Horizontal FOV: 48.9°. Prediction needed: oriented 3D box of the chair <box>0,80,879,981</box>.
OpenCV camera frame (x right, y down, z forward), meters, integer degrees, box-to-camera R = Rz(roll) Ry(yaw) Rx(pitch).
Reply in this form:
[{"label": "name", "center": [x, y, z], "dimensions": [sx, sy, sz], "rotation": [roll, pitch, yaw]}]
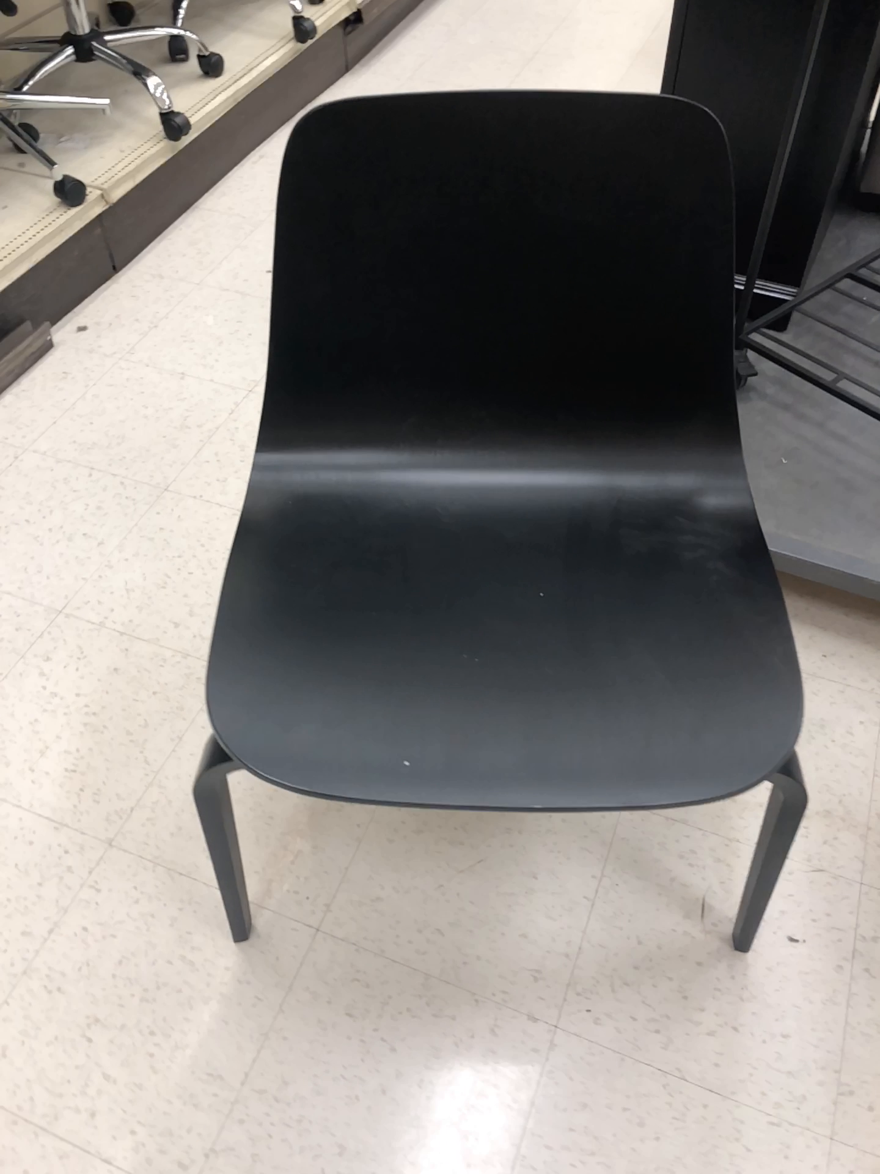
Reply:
[{"label": "chair", "center": [0.054, -0.039, 1.039], "dimensions": [0.640, 0.718, 0.632], "rotation": [1, 48, 2]}]
